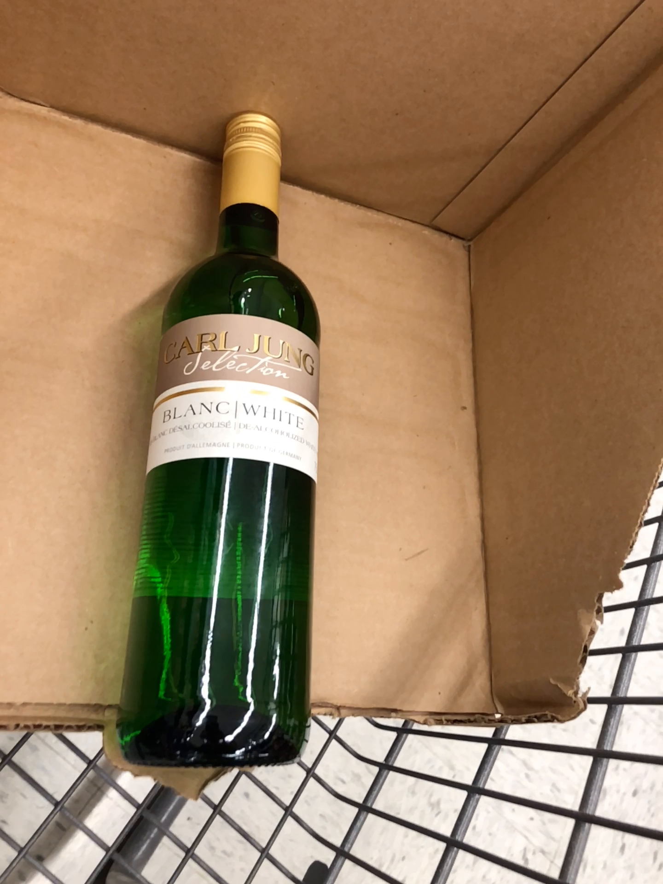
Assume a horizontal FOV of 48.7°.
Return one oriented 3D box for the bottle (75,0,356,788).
[{"bbox_3d":[-0.044,-0.038,0.319,0.080,0.100,0.331,6,70,-14],"label":"bottle"}]
